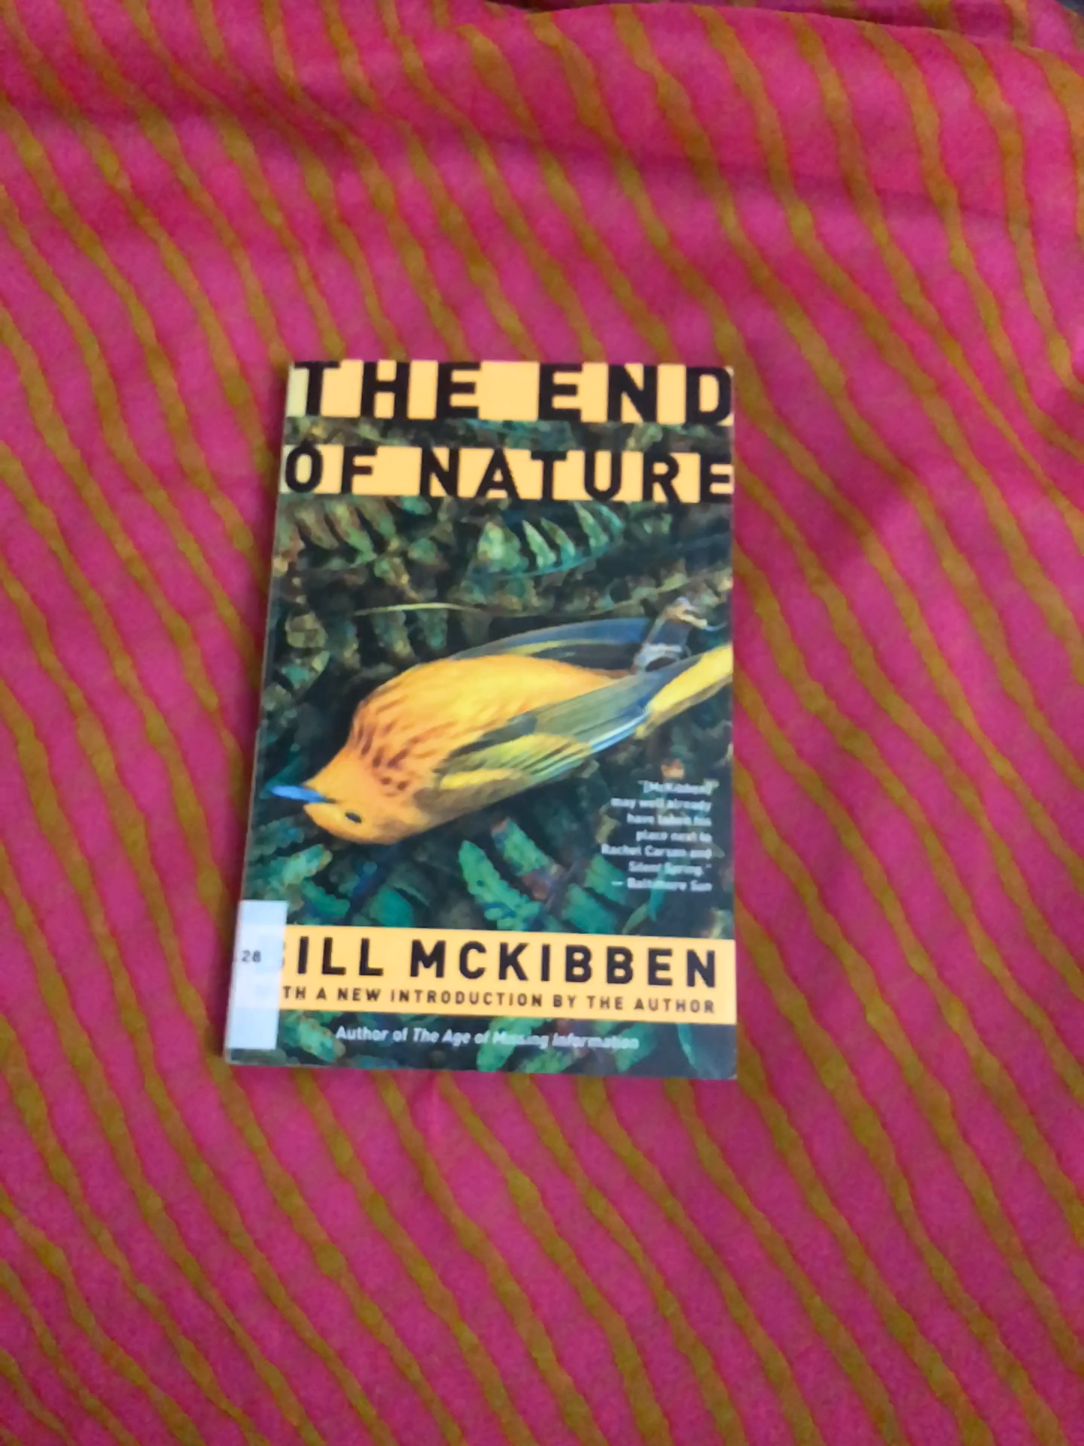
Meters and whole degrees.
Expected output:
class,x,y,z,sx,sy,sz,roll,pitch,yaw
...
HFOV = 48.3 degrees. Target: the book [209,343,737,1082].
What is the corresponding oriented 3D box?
class,x,y,z,sx,sy,sz,roll,pitch,yaw
book,-0.014,-0.006,0.330,0.131,0.020,0.194,2,79,-2
